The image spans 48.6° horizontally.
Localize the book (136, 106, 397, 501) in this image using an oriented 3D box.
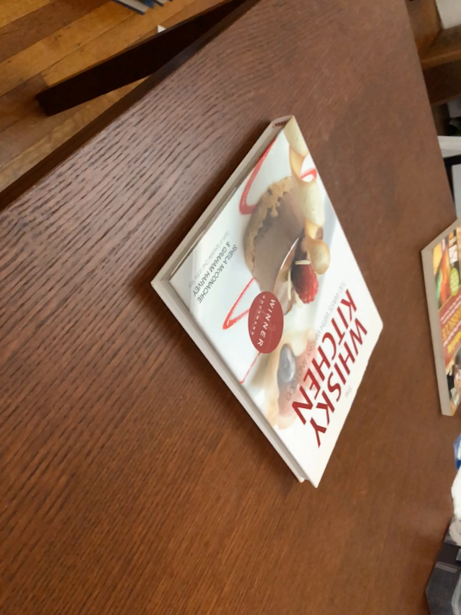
[{"bbox_3d":[0.063,0.002,0.460,0.271,0.040,0.221,57,49,-33],"label":"book"}]
